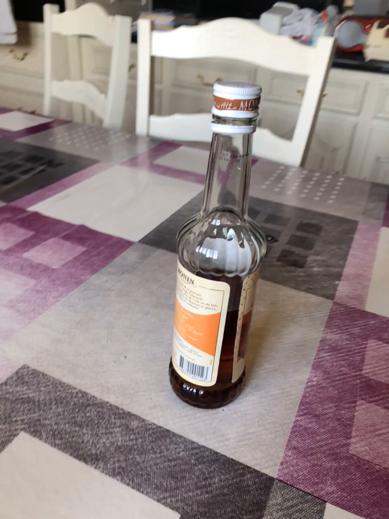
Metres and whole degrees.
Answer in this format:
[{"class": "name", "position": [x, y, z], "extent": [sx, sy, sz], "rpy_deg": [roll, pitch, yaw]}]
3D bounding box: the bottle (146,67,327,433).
[{"class": "bottle", "position": [0.017, 0.001, 0.302], "extent": [0.070, 0.238, 0.070], "rpy_deg": [3, 30, -2]}]
